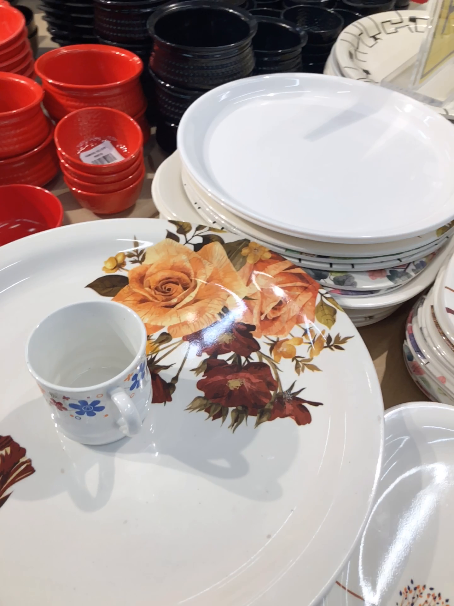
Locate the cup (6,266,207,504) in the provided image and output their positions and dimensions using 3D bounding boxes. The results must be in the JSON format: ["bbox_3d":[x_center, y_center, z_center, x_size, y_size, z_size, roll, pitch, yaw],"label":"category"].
[{"bbox_3d":[-0.066,0.044,0.288,0.070,0.070,0.090,-27,54,-24],"label":"cup"}]
